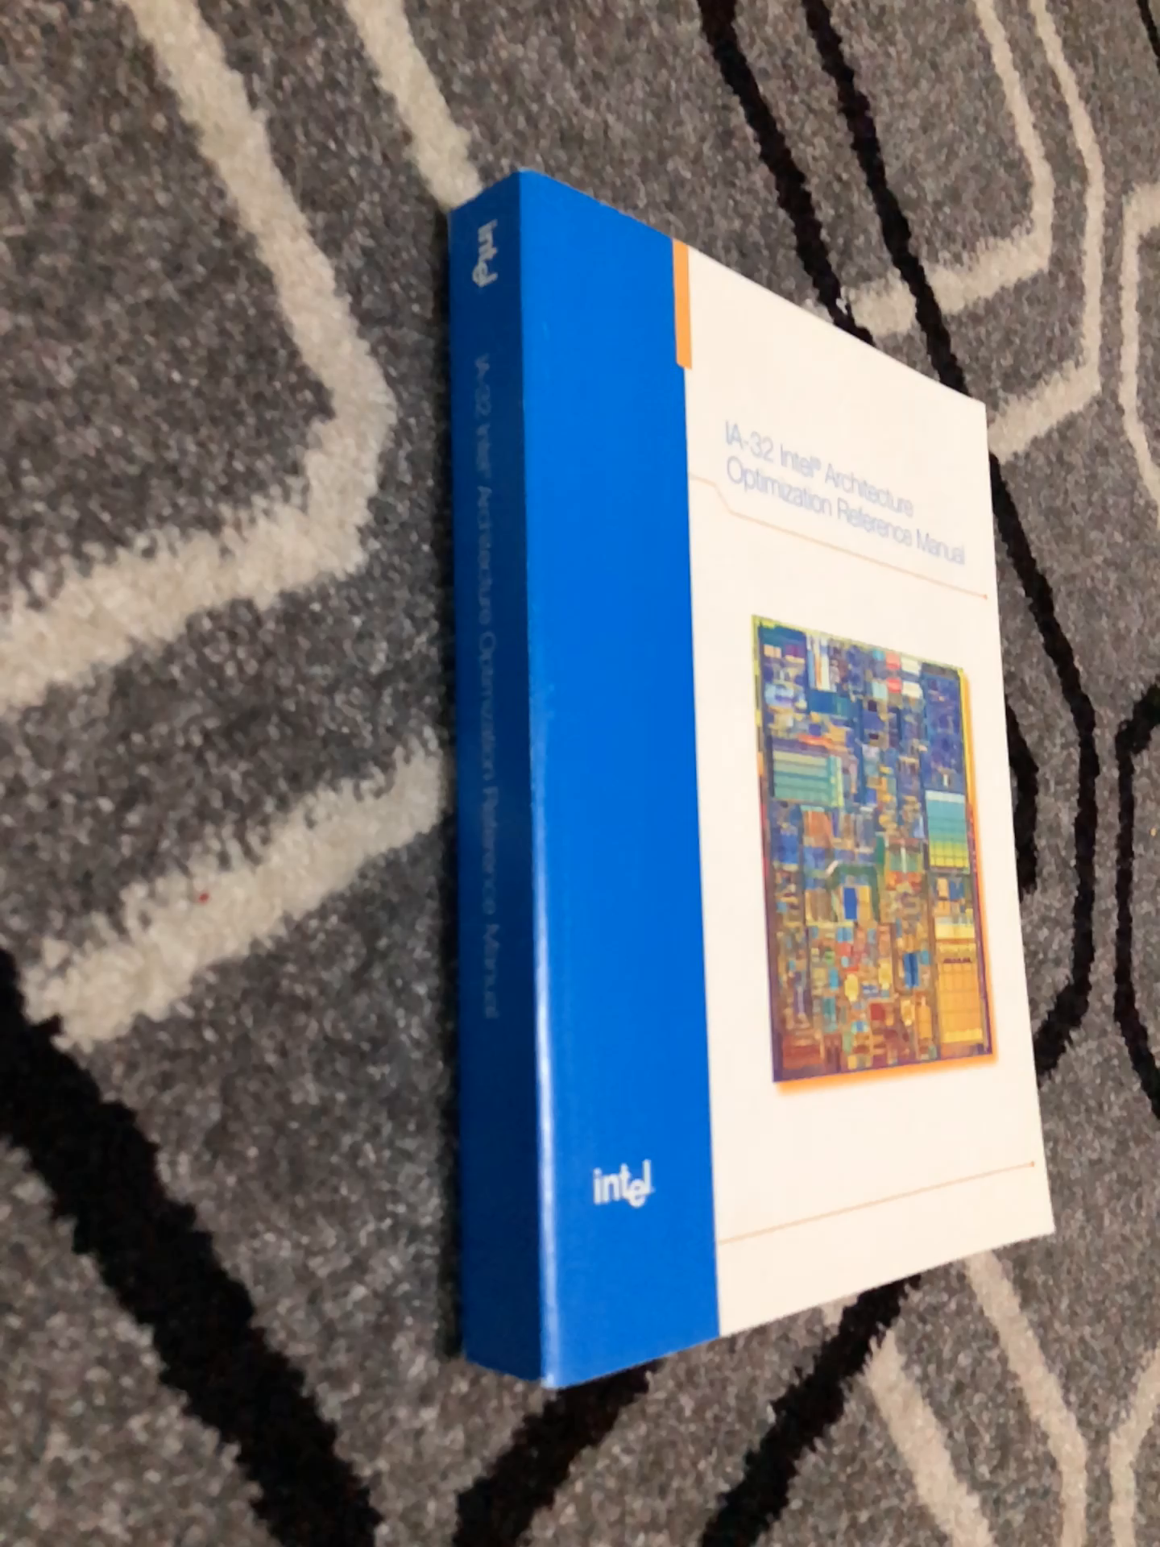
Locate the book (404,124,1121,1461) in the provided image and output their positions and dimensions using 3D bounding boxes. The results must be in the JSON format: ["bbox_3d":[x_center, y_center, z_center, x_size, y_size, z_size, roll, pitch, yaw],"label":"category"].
[{"bbox_3d":[0.046,0.003,0.270,0.171,0.040,0.210,6,78,-42],"label":"book"}]
